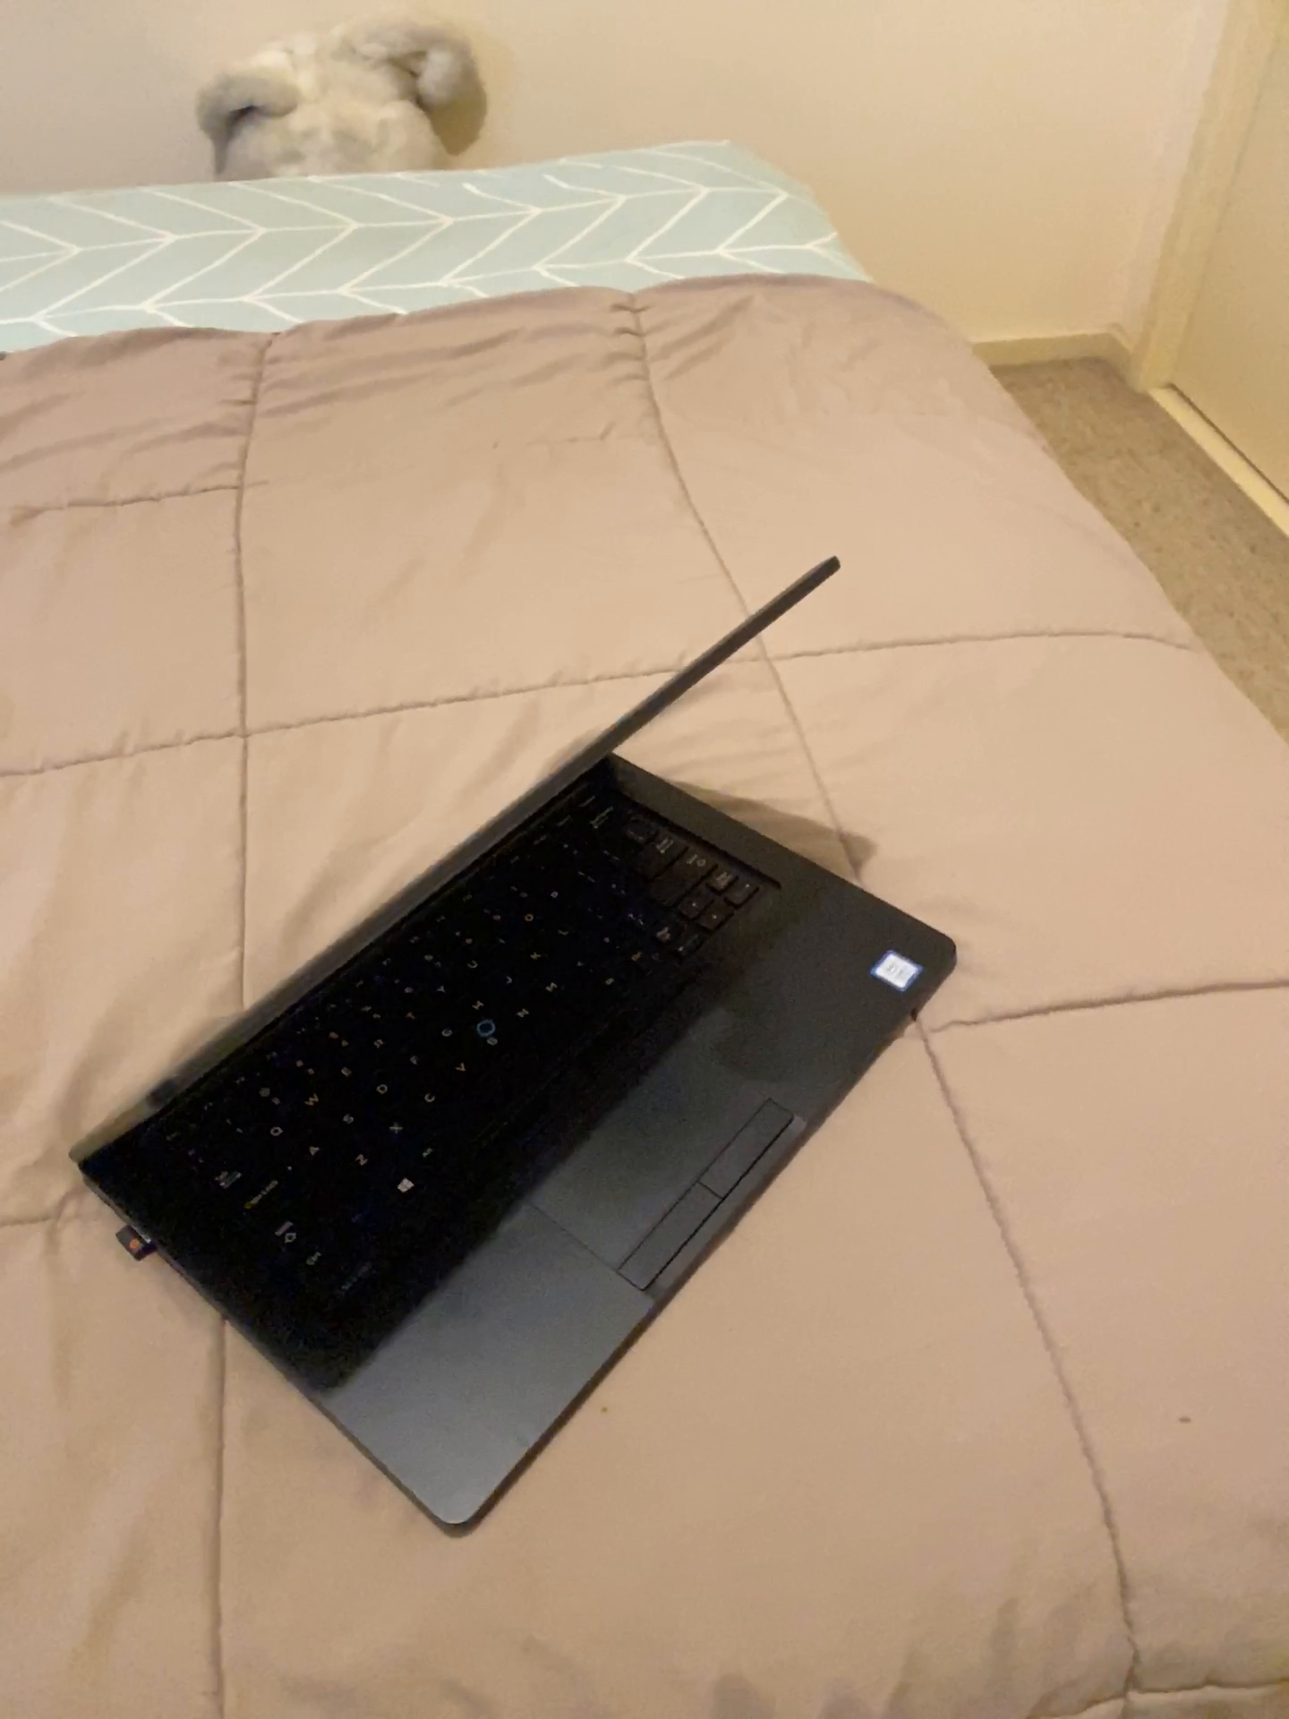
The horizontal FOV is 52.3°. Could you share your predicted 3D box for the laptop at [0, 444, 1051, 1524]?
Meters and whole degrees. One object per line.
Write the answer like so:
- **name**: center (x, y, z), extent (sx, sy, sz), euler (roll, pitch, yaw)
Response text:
- **laptop**: center (-0.042, 0.019, 0.525), extent (0.227, 0.183, 0.335), euler (30, 54, 27)
